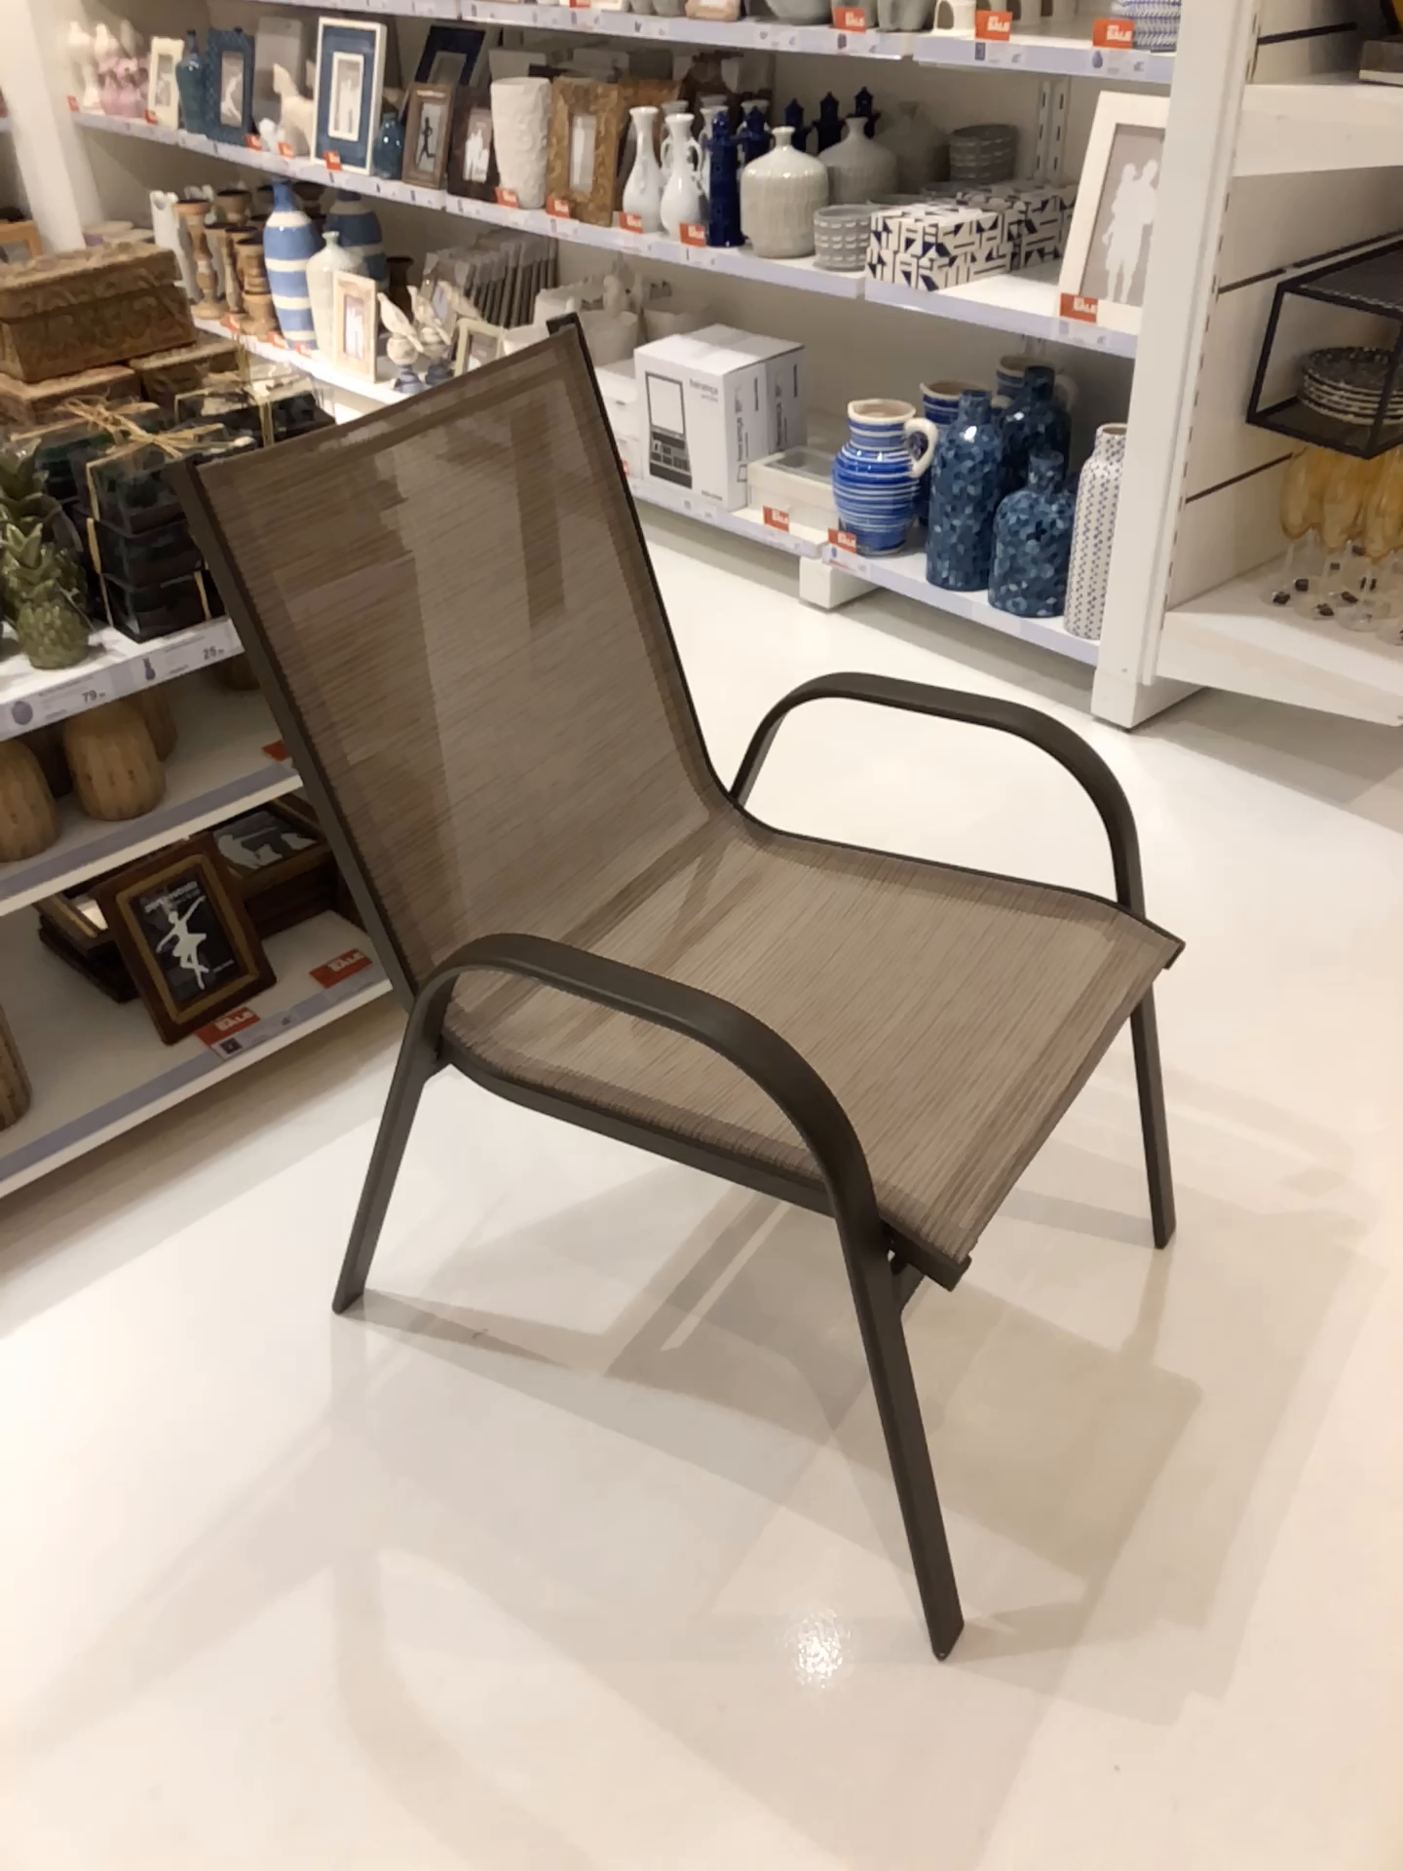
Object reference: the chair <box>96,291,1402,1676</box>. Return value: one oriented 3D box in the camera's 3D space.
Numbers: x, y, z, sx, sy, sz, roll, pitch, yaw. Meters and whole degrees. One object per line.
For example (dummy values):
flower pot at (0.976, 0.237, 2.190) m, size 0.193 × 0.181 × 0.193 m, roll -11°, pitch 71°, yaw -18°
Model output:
chair at (0.066, -0.022, 1.296) m, size 0.701 × 0.794 × 0.604 m, roll 19°, pitch 40°, yaw 27°
